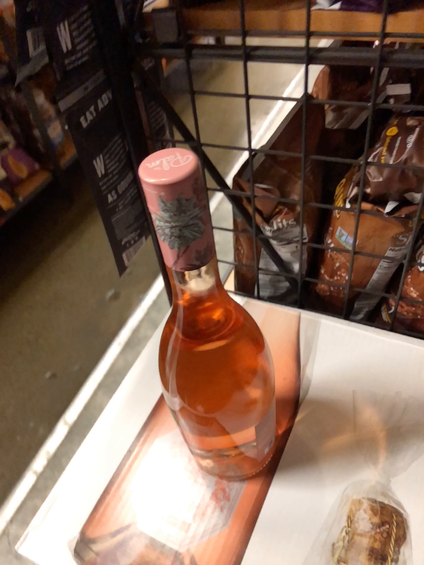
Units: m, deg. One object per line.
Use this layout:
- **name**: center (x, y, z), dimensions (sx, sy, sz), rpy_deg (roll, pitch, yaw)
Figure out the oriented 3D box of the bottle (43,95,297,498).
- **bottle**: center (-0.002, 0.034, 0.324), dimensions (0.090, 0.286, 0.087), rpy_deg (-4, 45, 4)
